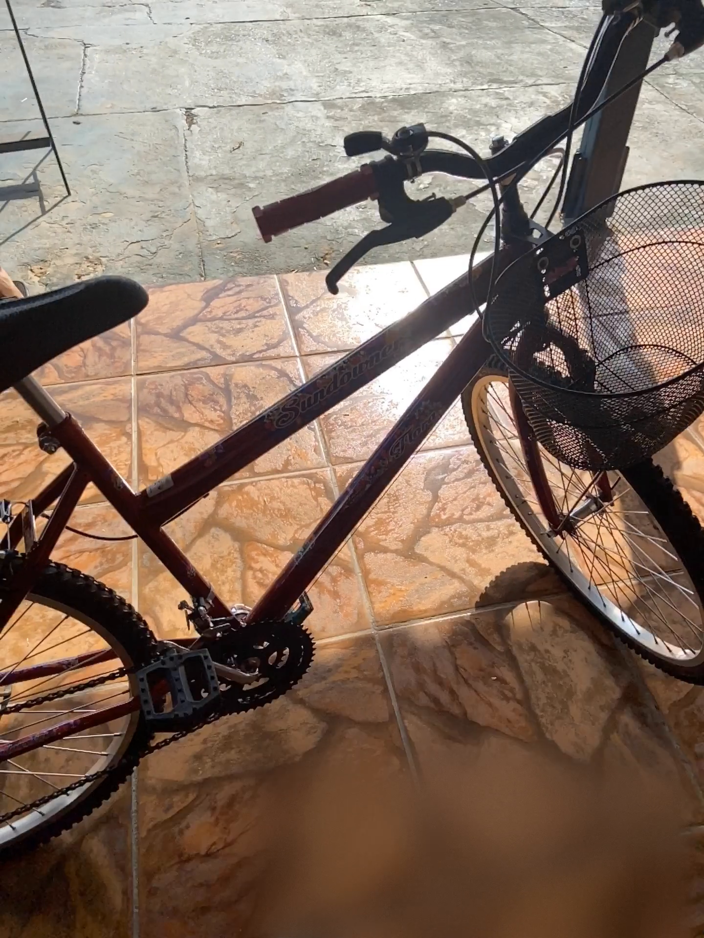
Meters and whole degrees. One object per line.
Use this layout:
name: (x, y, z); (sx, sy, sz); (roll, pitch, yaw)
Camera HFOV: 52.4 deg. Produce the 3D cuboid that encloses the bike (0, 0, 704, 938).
bike: (-0.204, 0.119, 0.828); (1.408, 1.081, 0.552); (-8, 47, -7)
